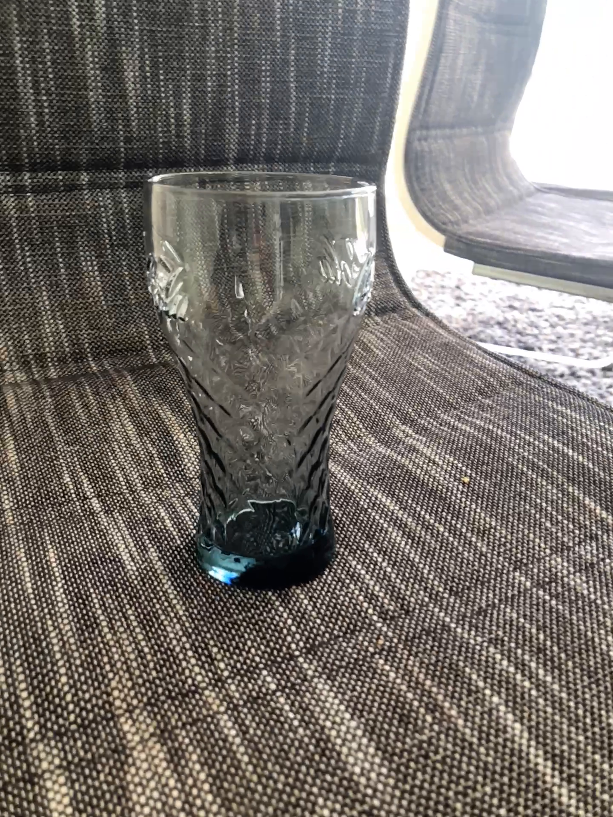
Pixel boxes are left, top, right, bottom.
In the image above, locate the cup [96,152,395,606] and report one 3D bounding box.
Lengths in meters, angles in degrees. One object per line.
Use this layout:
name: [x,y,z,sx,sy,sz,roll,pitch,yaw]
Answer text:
cup: [-0.017,-0.015,0.242,0.080,0.139,0.080,2,20,-1]
